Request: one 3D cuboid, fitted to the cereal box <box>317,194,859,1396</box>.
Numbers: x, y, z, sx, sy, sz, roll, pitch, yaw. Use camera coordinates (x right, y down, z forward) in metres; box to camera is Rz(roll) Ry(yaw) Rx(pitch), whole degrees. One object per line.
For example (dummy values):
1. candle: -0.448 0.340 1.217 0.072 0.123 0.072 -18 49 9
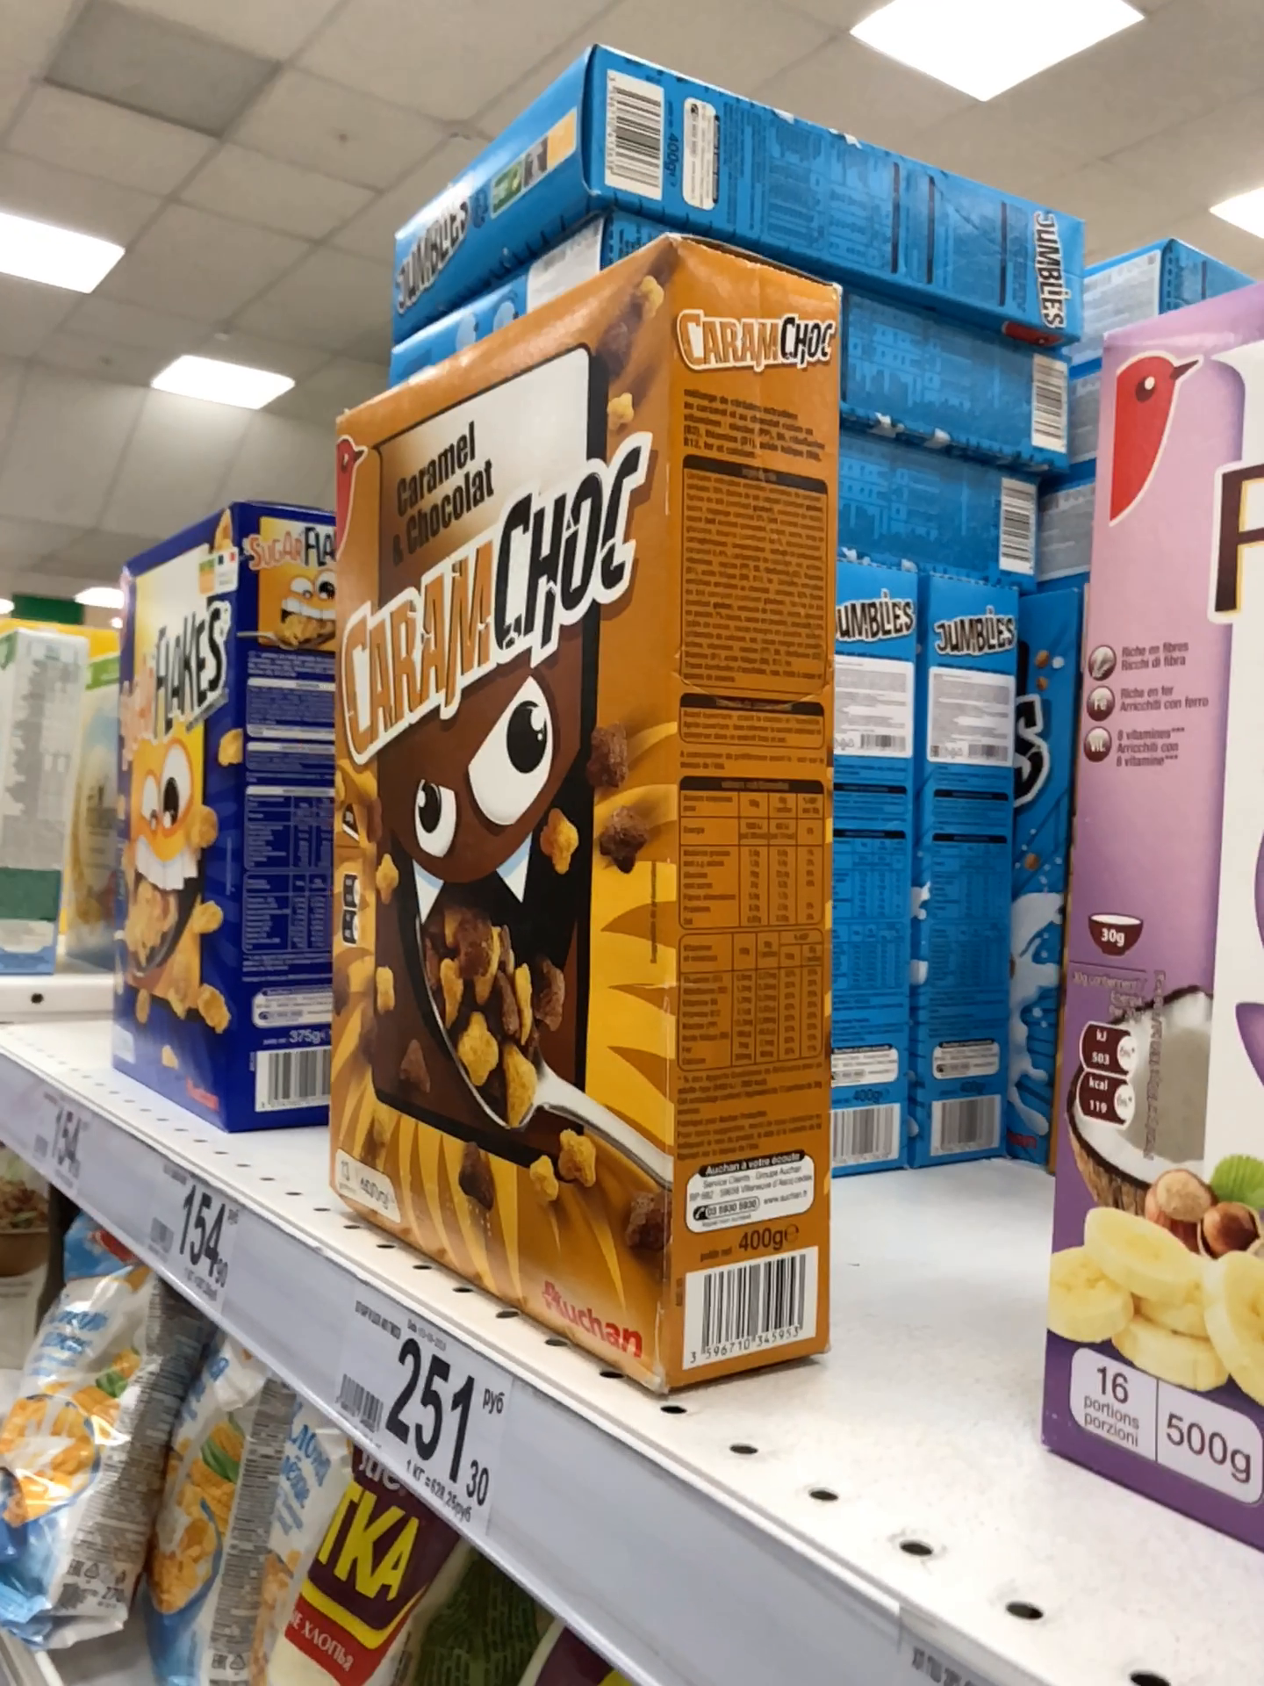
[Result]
1. cereal box: -0.026 -0.013 0.414 0.060 0.270 0.200 0 1 -34
